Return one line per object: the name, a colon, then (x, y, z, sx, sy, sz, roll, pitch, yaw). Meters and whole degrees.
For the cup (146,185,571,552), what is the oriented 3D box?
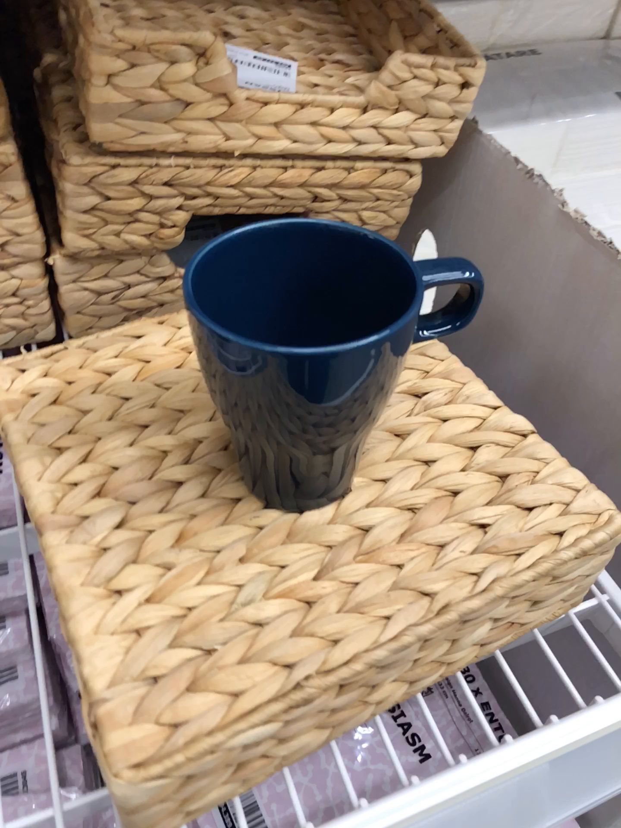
cup: (0.009, -0.019, 0.255, 0.120, 0.090, 0.080, -8, 45, -11)
